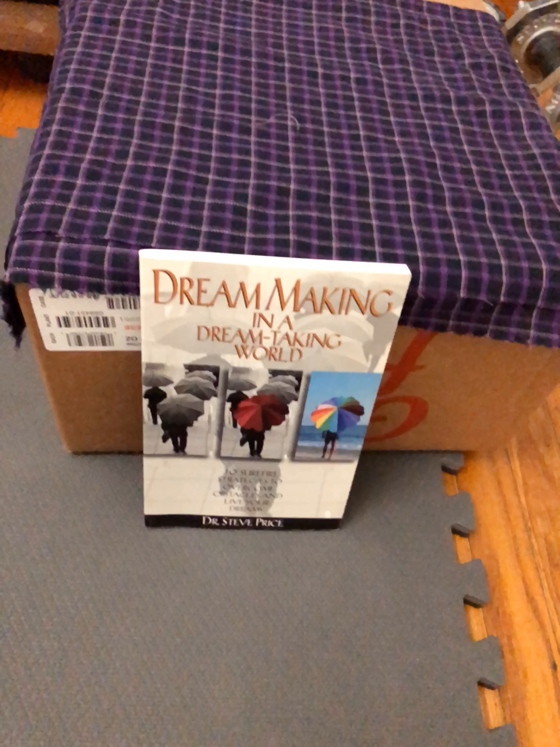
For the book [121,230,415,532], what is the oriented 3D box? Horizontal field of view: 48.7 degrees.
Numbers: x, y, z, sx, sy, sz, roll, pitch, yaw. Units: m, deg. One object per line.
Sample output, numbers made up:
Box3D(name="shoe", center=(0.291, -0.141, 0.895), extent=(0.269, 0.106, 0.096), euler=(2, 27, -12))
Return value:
Box3D(name="book", center=(-0.016, 0.021, 0.390), extent=(0.150, 0.219, 0.020), euler=(3, 39, -5))
